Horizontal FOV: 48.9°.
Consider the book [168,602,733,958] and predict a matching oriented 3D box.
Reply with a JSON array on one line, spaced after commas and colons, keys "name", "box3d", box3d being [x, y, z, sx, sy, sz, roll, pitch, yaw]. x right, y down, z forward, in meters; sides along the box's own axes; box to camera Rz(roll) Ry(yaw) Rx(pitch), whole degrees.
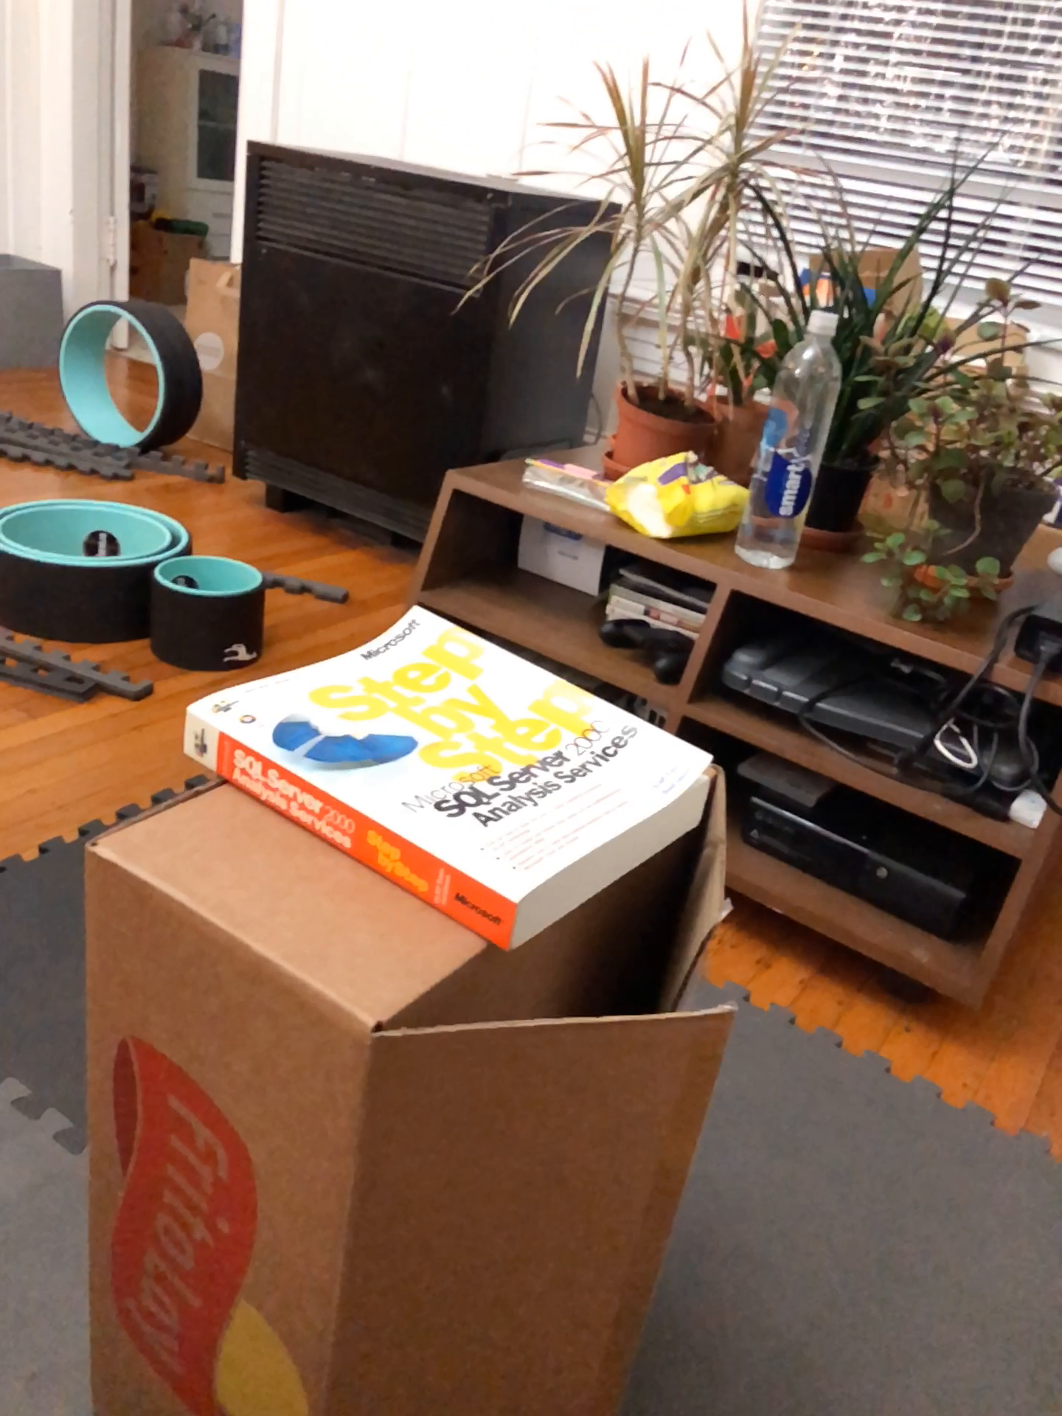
[{"name": "book", "box3d": [-0.040, 0.021, 0.655, 0.240, 0.050, 0.201, 26, 26, 26]}]
